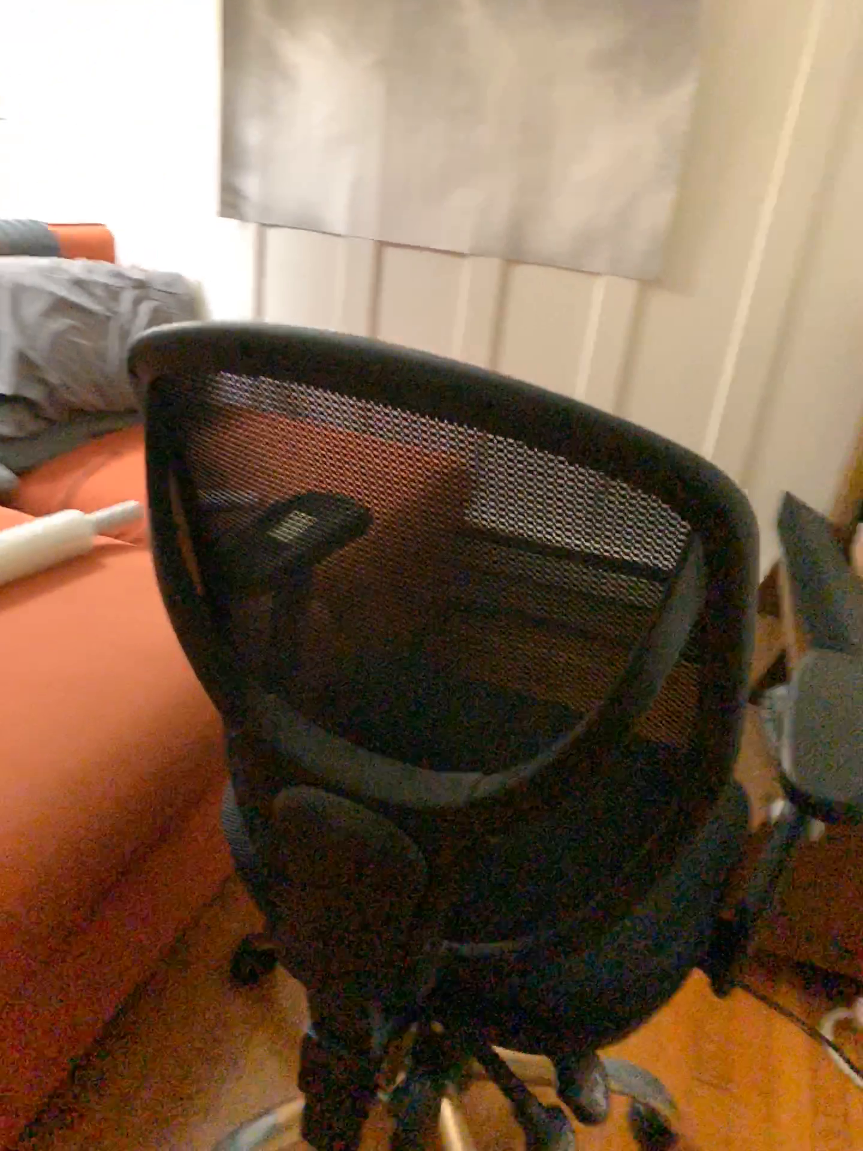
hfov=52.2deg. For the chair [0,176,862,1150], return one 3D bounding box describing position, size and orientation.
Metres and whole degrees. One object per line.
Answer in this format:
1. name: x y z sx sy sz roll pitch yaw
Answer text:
1. chair: 0.029 0.184 0.870 0.641 0.974 0.663 19 31 23
